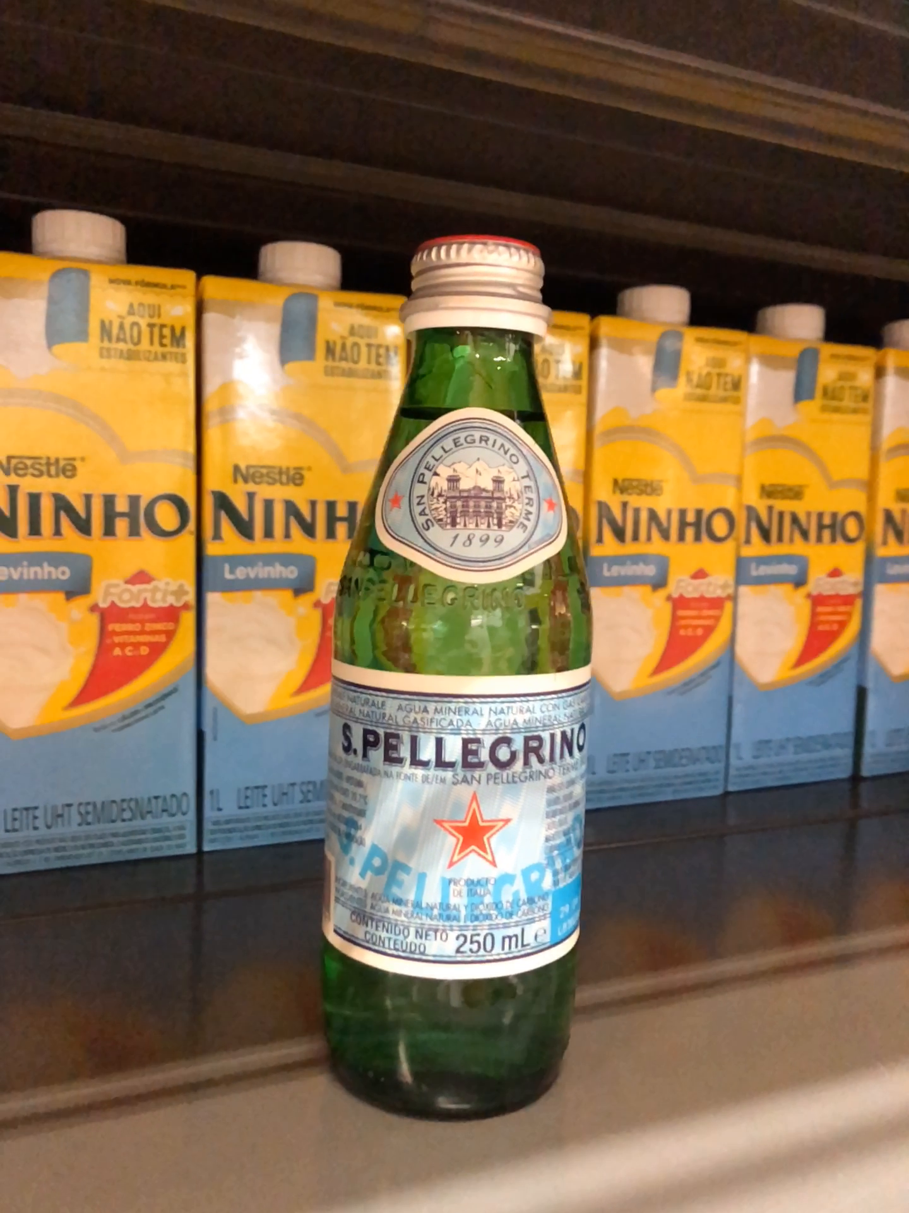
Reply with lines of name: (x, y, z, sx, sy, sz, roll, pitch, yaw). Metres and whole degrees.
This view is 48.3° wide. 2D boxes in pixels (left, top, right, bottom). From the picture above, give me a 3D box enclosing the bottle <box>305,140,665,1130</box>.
bottle: (0.001, 0.006, 0.216, 0.060, 0.180, 0.060, 2, 6, 0)
